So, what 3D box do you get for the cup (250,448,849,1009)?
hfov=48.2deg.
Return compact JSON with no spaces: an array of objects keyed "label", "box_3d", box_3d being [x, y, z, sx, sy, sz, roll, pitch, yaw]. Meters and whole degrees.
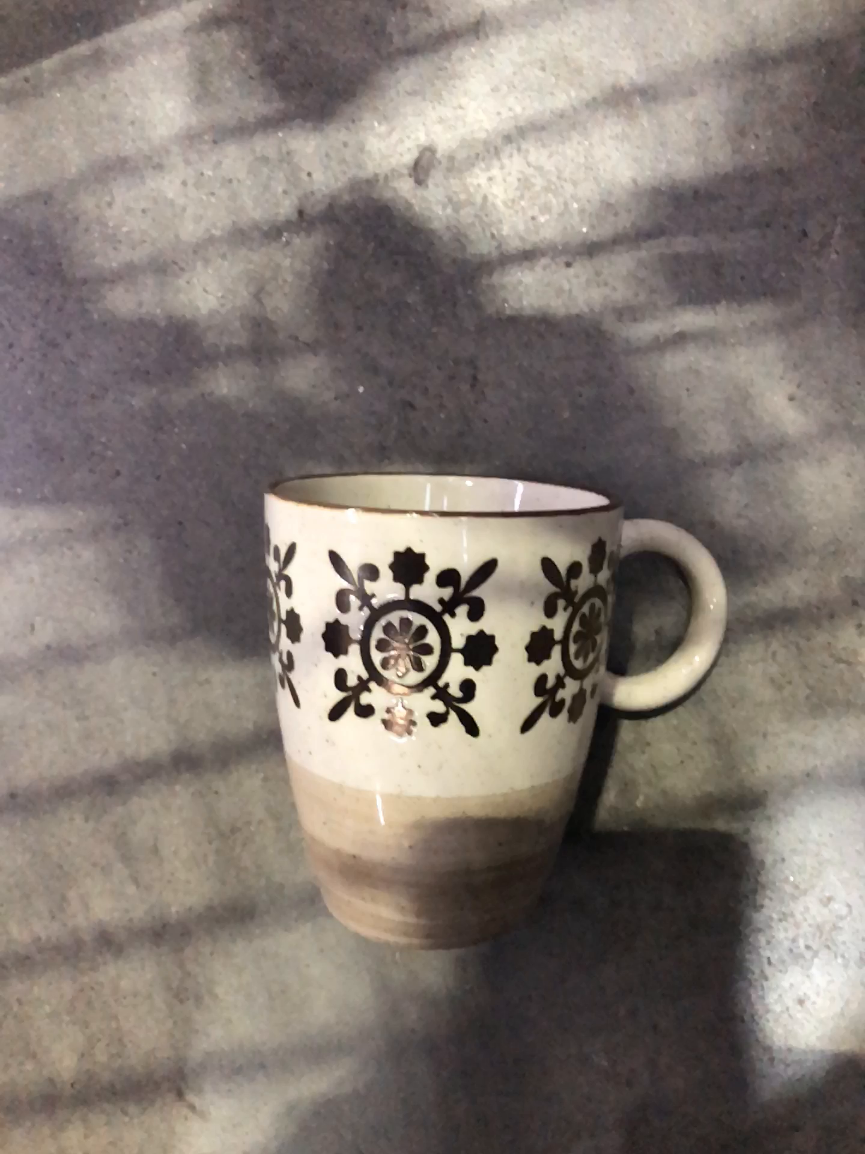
[{"label":"cup","box_3d":[0.015,0.022,0.200,0.100,0.070,0.090,0,101,-13]}]
